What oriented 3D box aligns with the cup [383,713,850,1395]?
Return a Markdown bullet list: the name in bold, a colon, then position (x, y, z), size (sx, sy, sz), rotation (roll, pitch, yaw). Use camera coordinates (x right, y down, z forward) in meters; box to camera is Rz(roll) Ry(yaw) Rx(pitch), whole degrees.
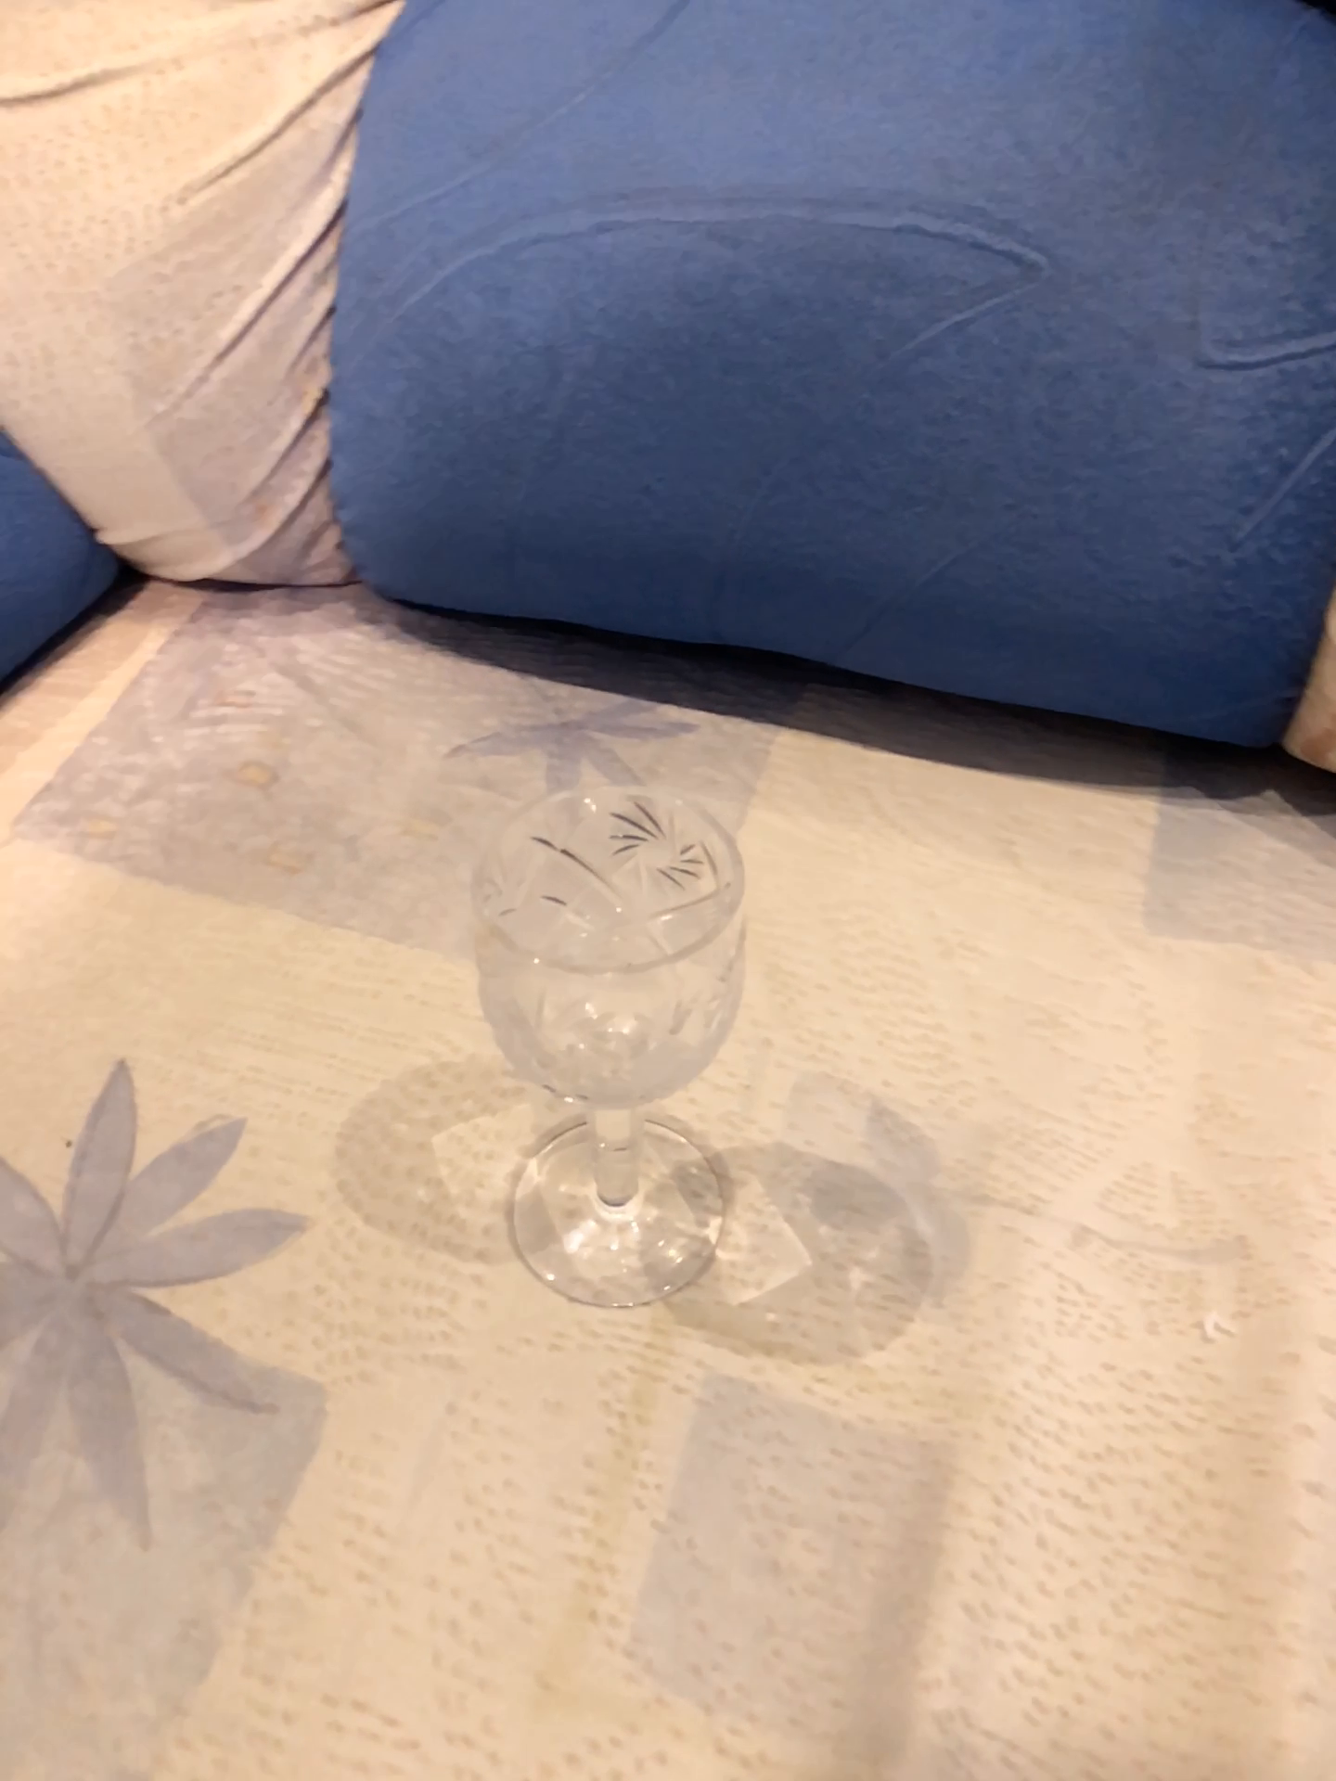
- **cup**: position (-0.009, 0.037, 0.304), size (0.060, 0.119, 0.060), rotation (-1, 45, 1)
